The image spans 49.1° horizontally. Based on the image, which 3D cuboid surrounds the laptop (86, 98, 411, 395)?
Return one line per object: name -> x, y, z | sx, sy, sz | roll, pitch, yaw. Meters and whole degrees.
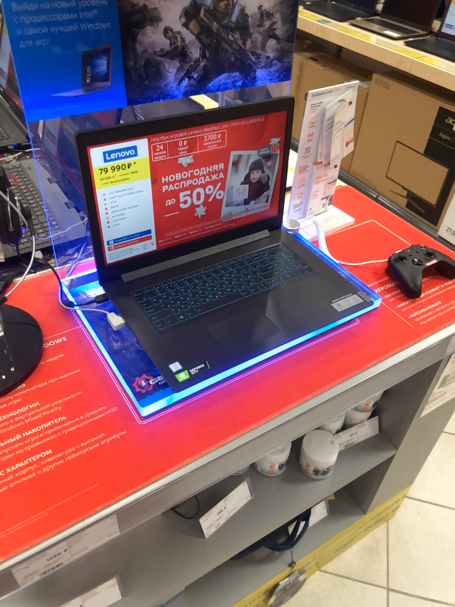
laptop -> 0.021, -0.123, 0.826 | 0.404, 0.255, 0.296 | -20, 47, -26
